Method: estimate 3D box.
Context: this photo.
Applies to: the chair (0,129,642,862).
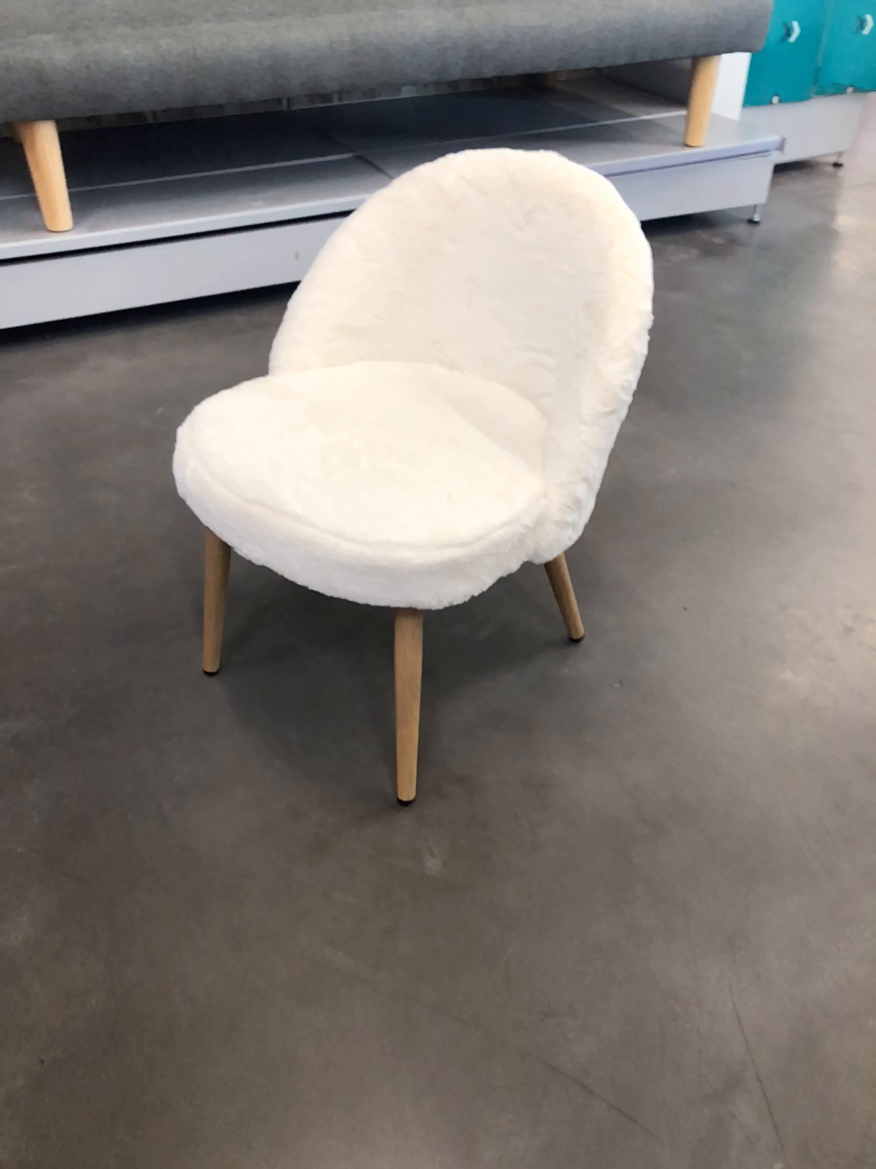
[{"bbox_3d":[-0.109,-0.130,1.035,0.410,0.537,0.473,25,44,30],"label":"chair"}]
